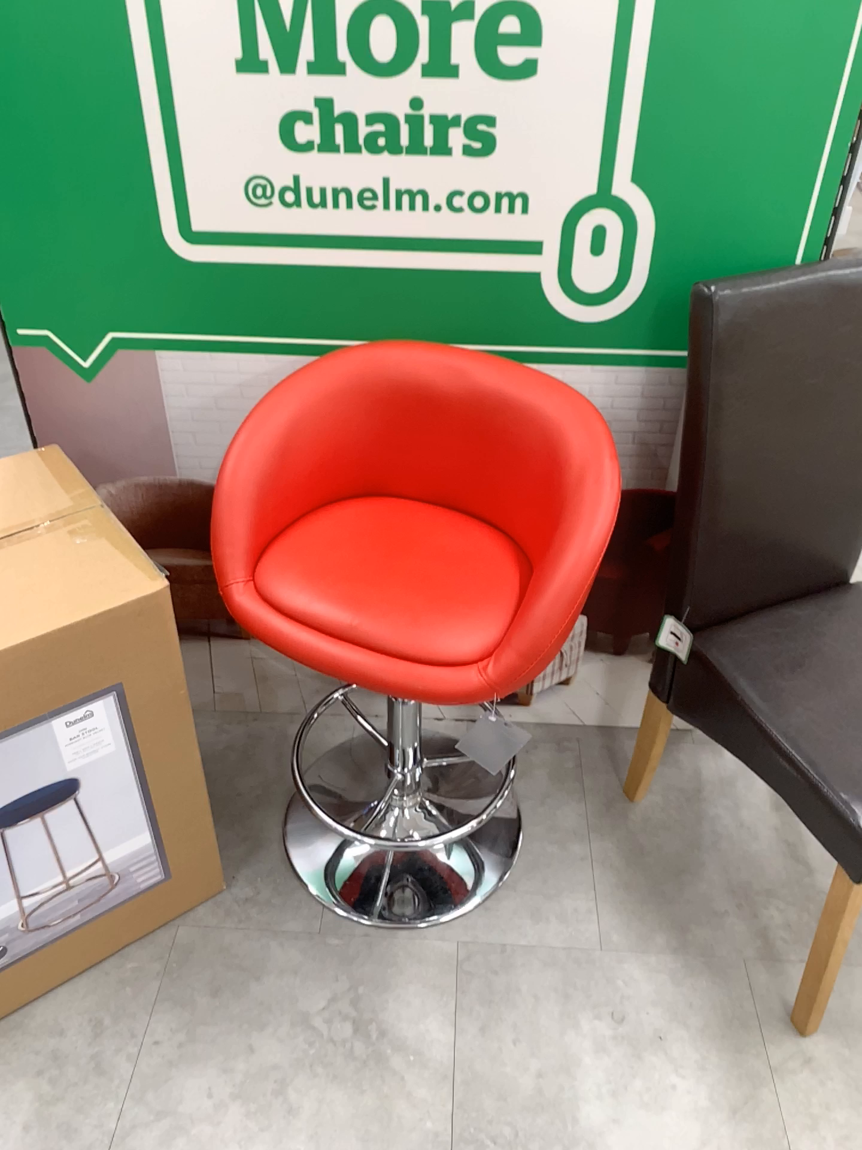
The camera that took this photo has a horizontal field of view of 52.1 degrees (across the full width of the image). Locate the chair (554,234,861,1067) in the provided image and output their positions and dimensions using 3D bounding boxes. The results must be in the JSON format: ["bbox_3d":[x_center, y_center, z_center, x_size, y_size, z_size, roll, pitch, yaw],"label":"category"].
[{"bbox_3d":[0.560,0.083,1.179,0.505,0.852,0.535,-16,39,-22],"label":"chair"}]

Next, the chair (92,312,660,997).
[{"bbox_3d":[-0.034,0.100,1.259,0.535,0.744,0.464,12,37,16],"label":"chair"}]
